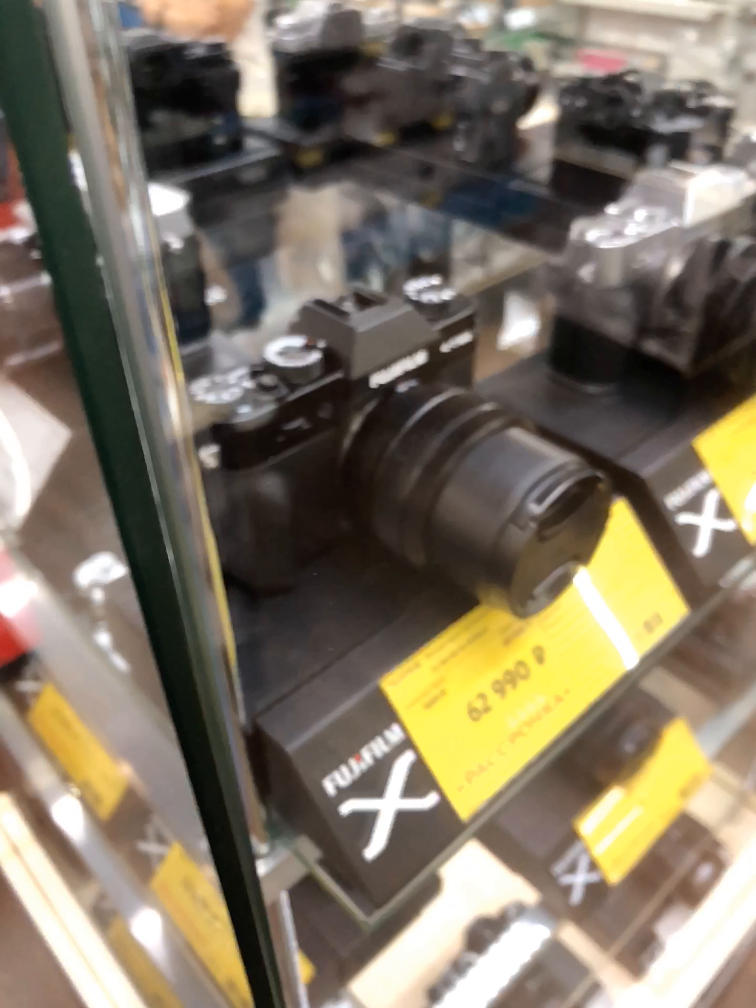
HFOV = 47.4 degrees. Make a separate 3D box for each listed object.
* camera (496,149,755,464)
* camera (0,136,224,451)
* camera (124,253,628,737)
[{"bbox_3d":[0.134,-0.095,0.384,0.114,0.078,0.109,-29,45,-31],"label":"camera"},{"bbox_3d":[-0.163,-0.110,0.419,0.120,0.090,0.114,-31,46,-32],"label":"camera"},{"bbox_3d":[0.000,-0.013,0.298,0.114,0.090,0.110,-32,47,-33],"label":"camera"}]
